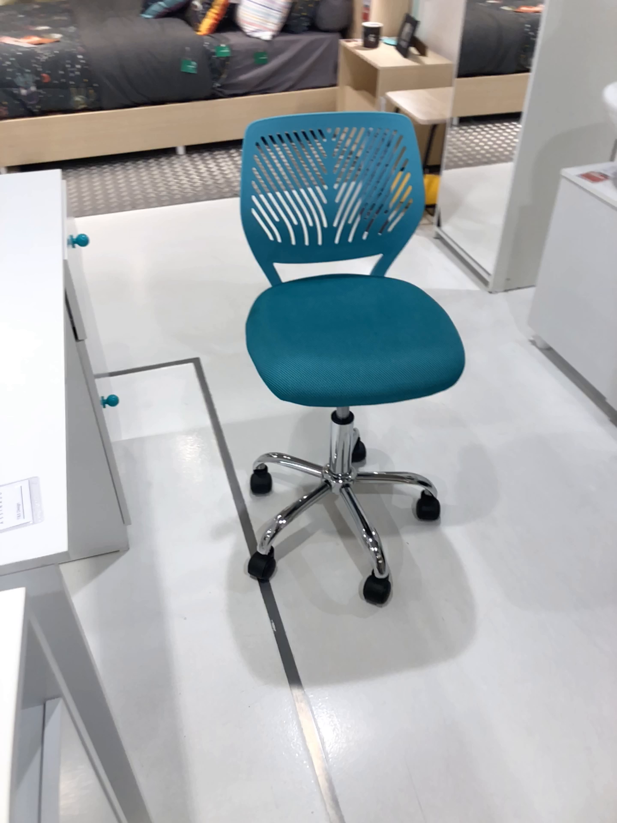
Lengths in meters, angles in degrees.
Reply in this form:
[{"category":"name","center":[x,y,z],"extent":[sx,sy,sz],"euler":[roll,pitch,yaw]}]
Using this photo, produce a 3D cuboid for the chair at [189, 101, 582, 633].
[{"category":"chair","center":[0.069,-0.077,1.290],"extent":[0.480,0.804,0.534],"euler":[-6,40,-7]}]
